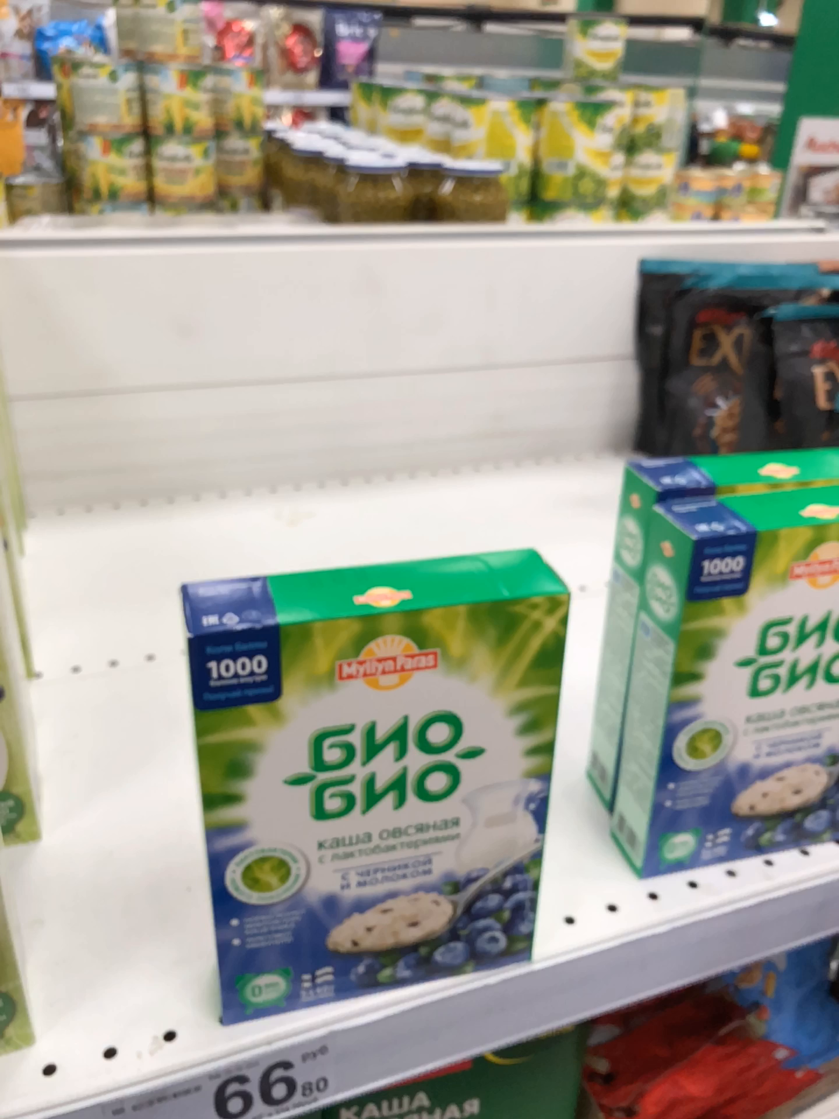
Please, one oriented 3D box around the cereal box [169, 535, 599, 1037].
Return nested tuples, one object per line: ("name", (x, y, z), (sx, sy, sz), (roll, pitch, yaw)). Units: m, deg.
("cereal box", (-0.016, 0.100, 0.406), (0.160, 0.209, 0.040), (-5, 27, -15))
